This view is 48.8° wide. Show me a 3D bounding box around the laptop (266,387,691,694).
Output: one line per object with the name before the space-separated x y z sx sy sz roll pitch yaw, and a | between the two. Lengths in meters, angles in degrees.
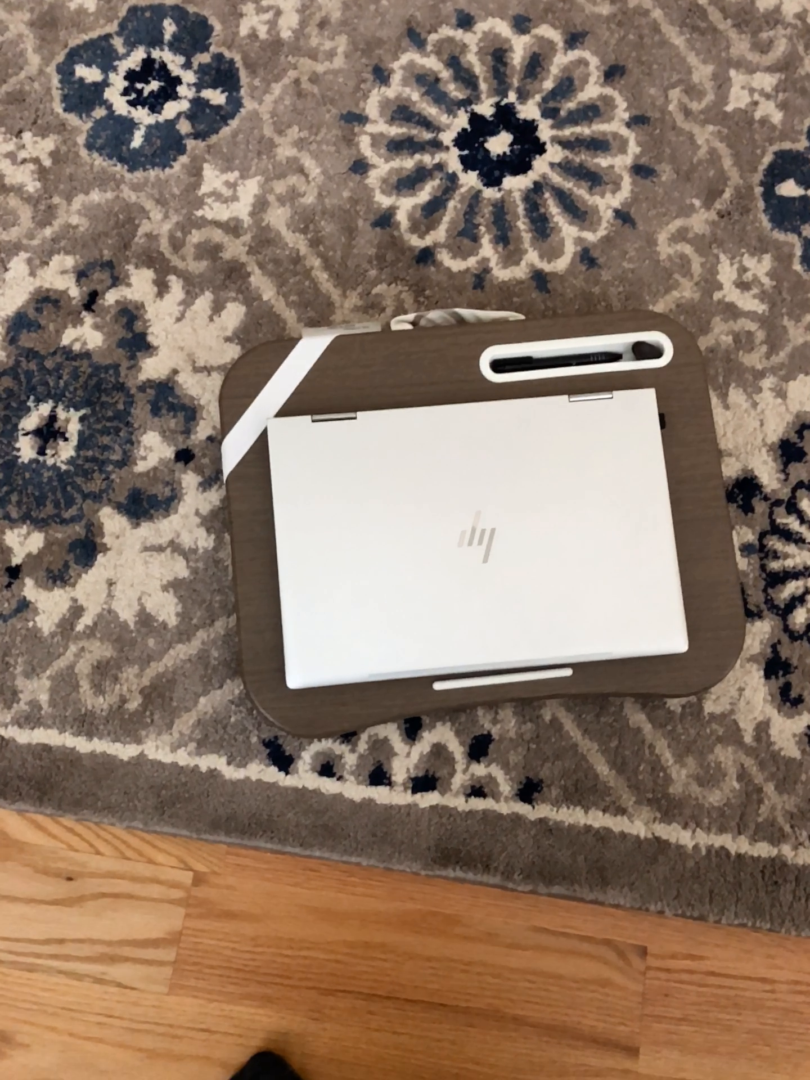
laptop | 0.062 -0.002 0.800 0.354 0.026 0.241 -5 81 -2
